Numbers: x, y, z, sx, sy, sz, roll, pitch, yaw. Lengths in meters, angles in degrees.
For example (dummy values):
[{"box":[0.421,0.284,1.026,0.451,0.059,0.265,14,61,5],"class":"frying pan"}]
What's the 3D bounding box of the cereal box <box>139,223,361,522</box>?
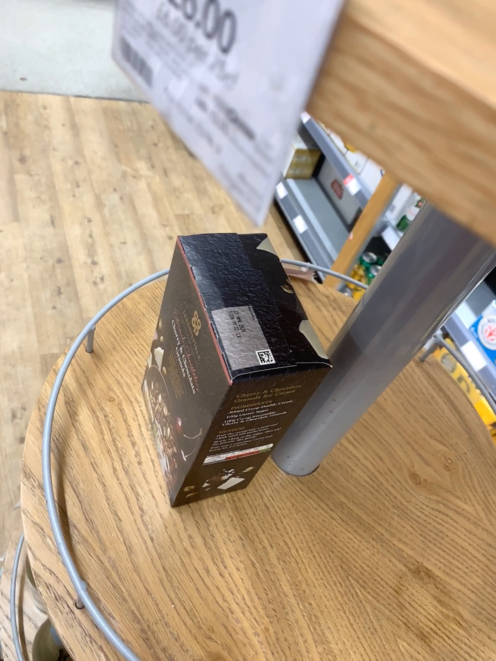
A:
[{"box":[-0.020,0.042,0.425,0.090,0.218,0.141,-6,54,-24],"class":"cereal box"}]
